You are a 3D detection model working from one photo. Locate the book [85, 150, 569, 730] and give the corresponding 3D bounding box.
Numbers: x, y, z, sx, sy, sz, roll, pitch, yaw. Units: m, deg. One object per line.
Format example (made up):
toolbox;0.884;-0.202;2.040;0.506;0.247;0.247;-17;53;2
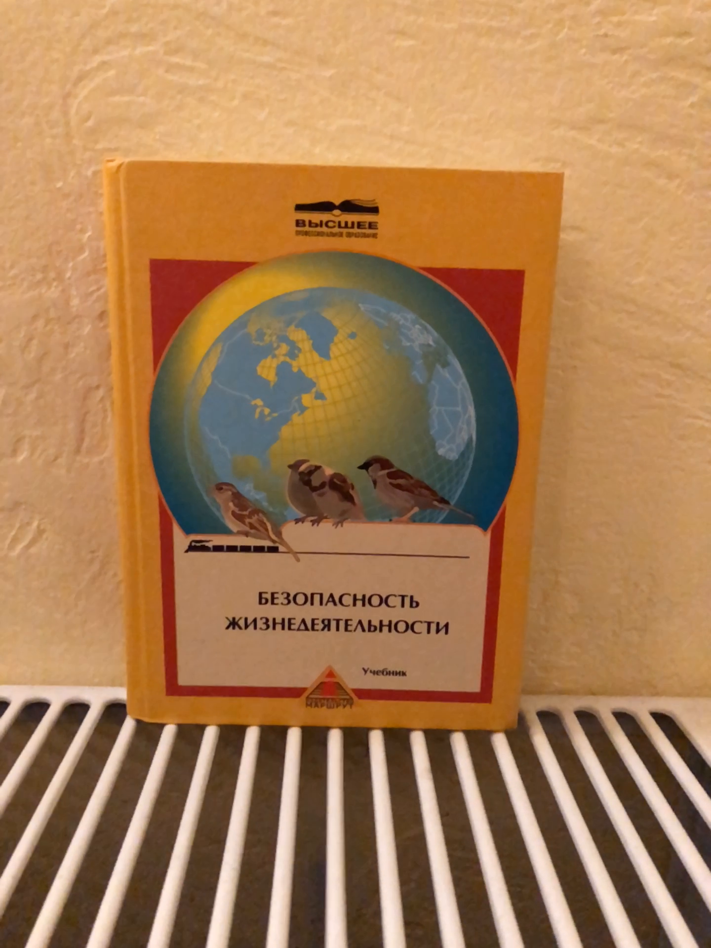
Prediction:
book;-0.010;-0.008;0.290;0.150;0.203;0.041;1;16;1
